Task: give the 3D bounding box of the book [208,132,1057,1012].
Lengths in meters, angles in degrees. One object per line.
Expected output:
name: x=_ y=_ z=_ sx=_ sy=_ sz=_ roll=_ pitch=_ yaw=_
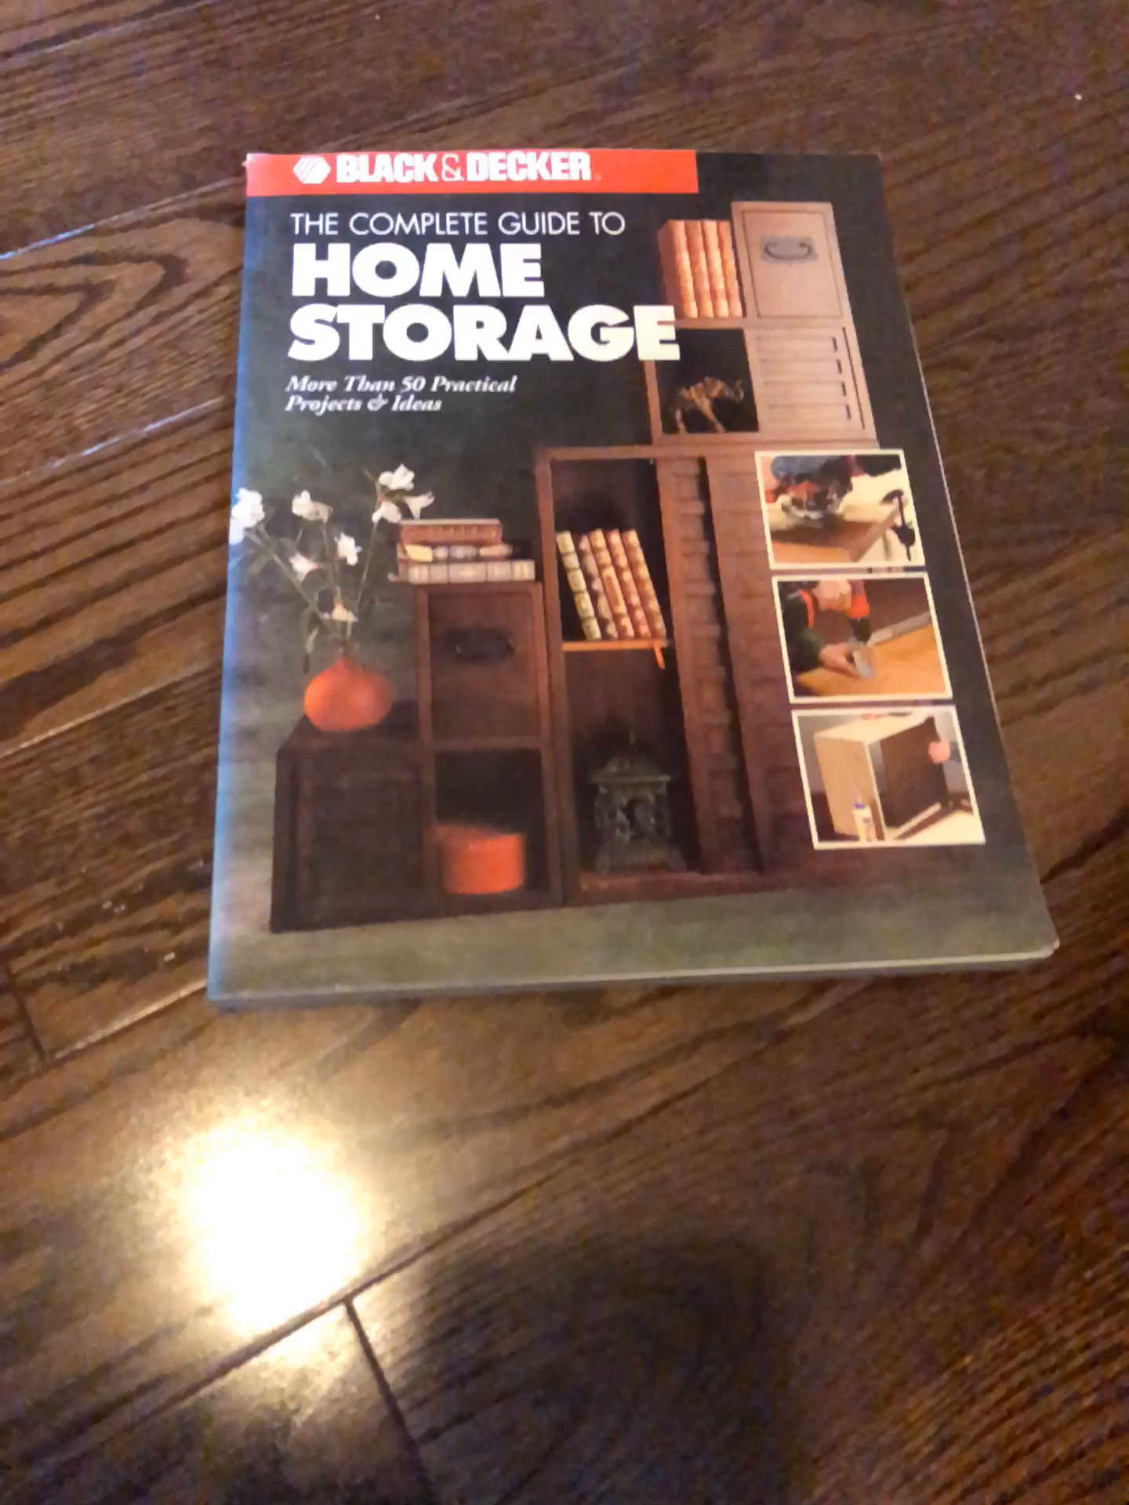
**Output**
book: x=0.010 y=-0.073 z=0.378 sx=0.215 sy=0.020 sz=0.287 roll=-2 pitch=67 yaw=-5
